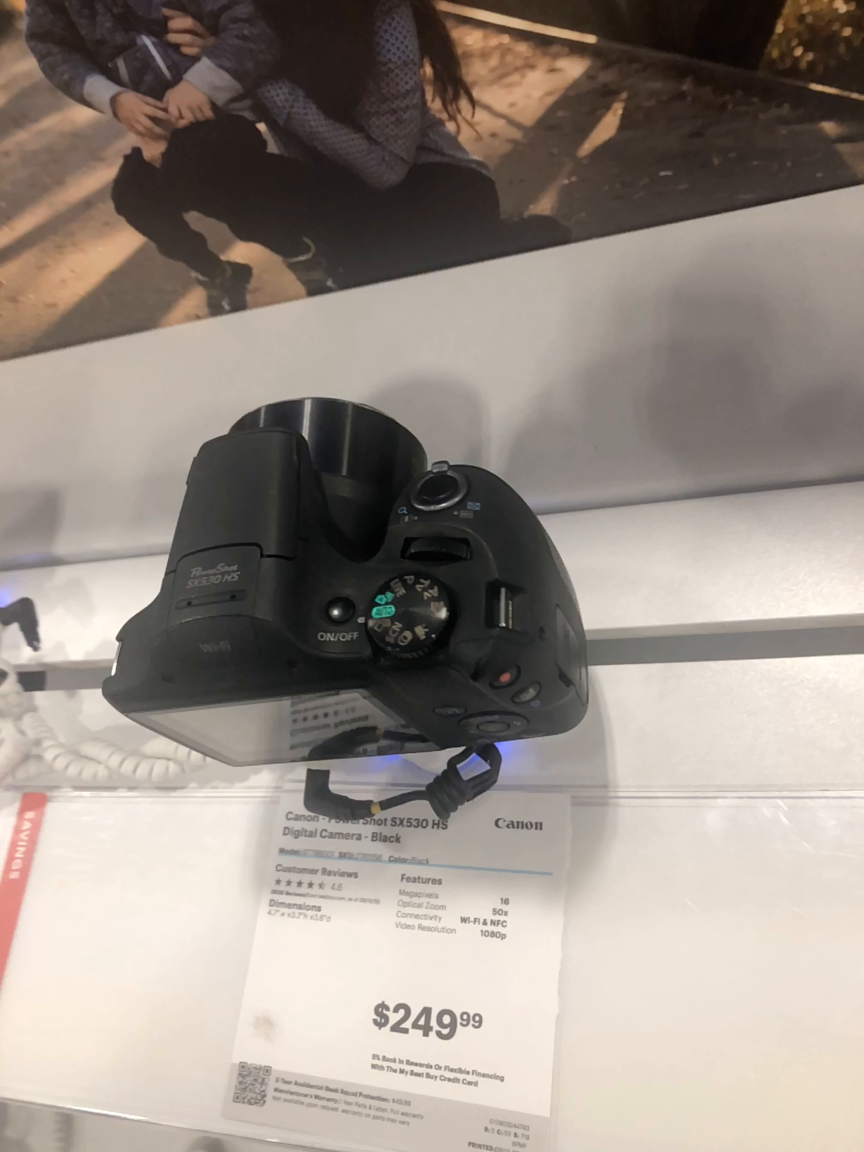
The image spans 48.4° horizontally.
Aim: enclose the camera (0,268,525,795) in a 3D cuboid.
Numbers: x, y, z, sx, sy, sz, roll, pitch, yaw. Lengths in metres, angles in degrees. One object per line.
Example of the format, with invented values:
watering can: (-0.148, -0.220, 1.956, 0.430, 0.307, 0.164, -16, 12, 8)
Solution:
camera: (-0.042, -0.005, 0.267, 0.120, 0.070, 0.110, -8, 62, 20)
